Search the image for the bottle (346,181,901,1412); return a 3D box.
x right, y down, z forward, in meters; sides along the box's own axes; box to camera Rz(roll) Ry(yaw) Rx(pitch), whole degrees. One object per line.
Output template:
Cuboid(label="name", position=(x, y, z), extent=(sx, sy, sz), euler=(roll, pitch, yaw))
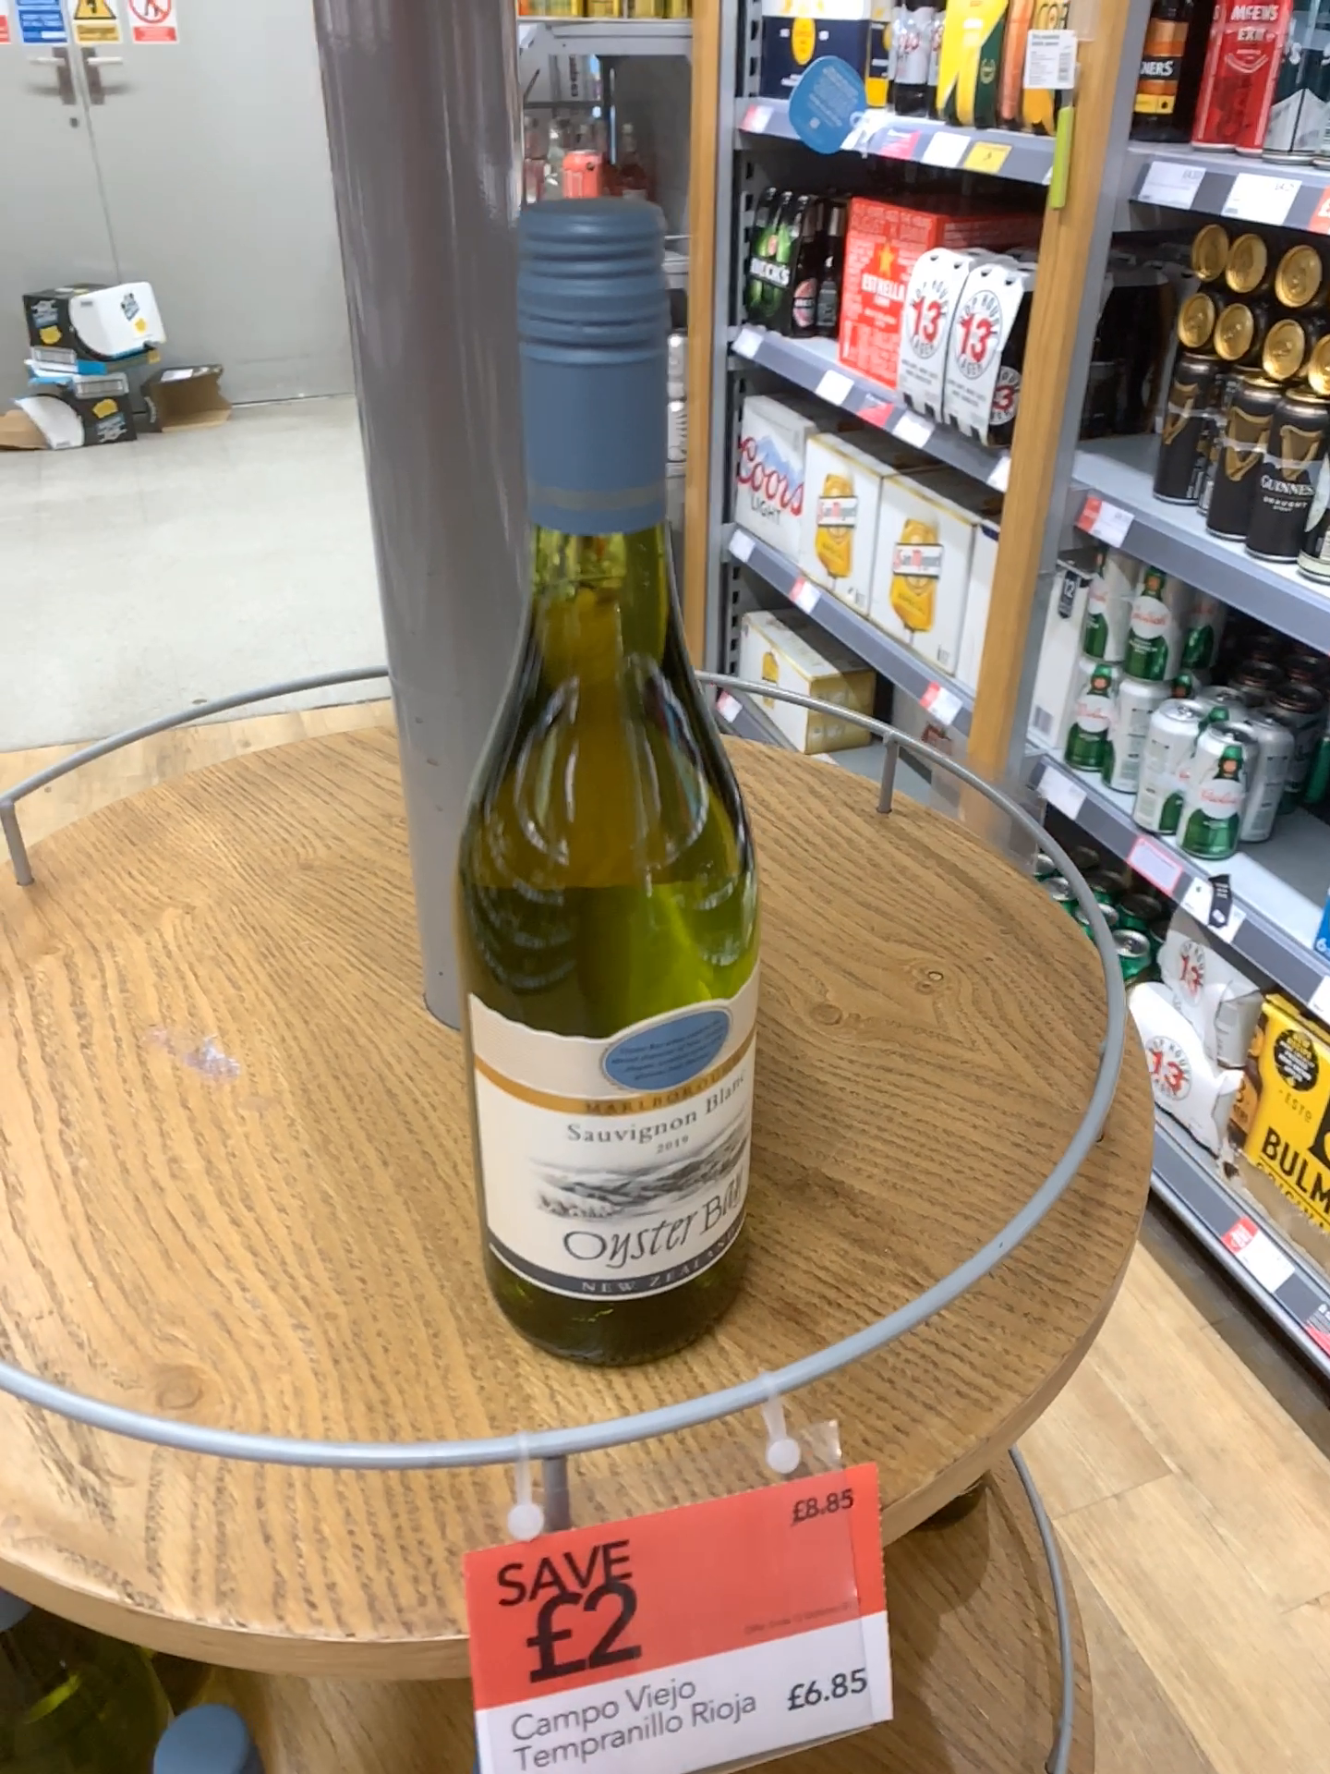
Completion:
Cuboid(label="bottle", position=(-0.011, -0.009, 0.334), extent=(0.080, 0.284, 0.081), euler=(0, 32, 0))
